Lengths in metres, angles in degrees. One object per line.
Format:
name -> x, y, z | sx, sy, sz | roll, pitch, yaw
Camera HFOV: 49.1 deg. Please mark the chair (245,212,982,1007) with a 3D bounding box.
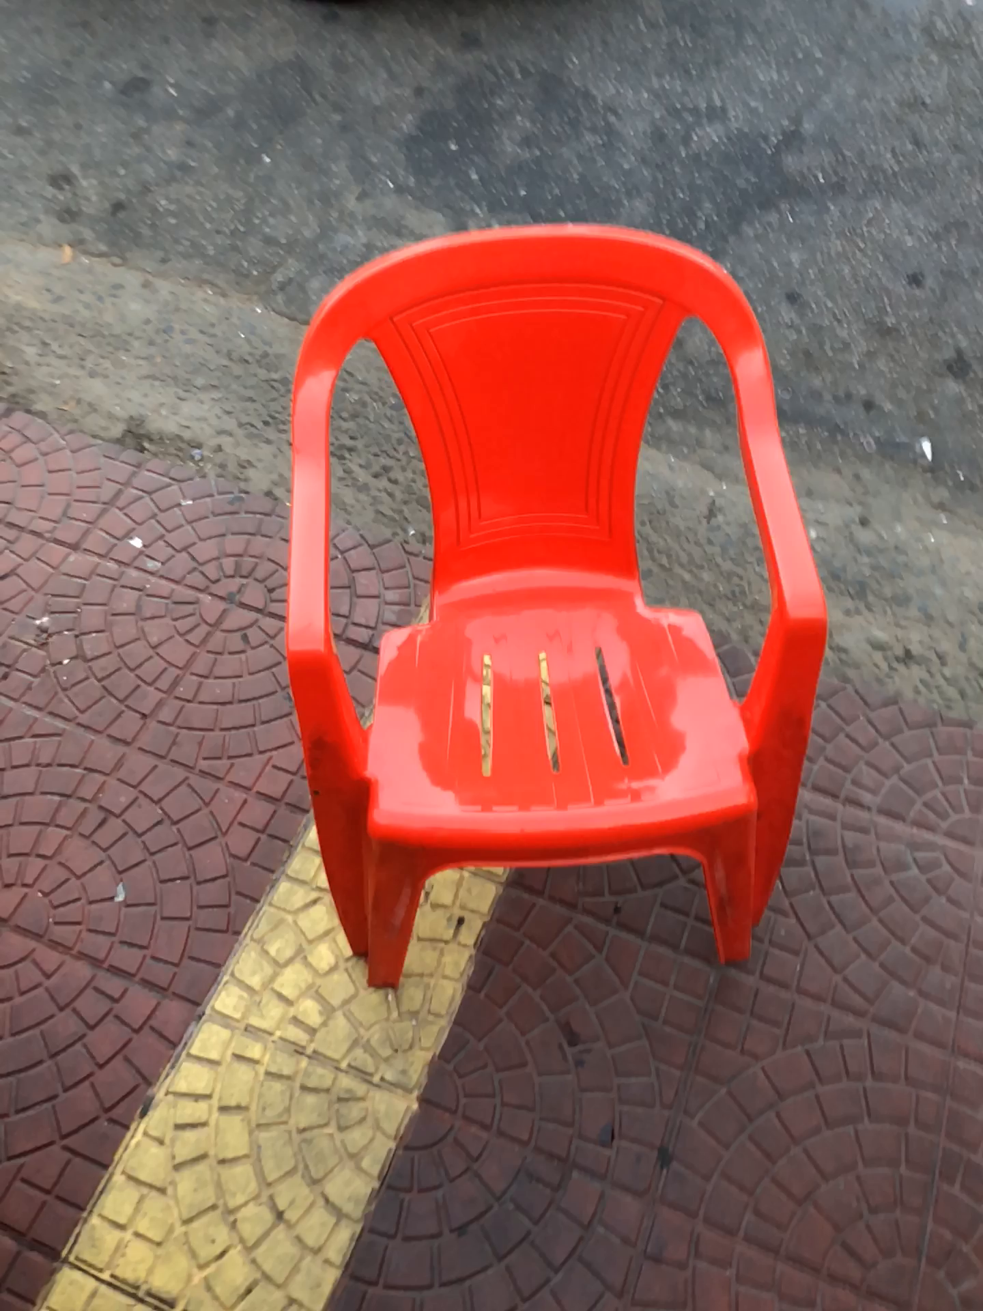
chair -> 0.080, 0.006, 1.261 | 0.570, 0.797, 0.542 | -3, 56, -4
